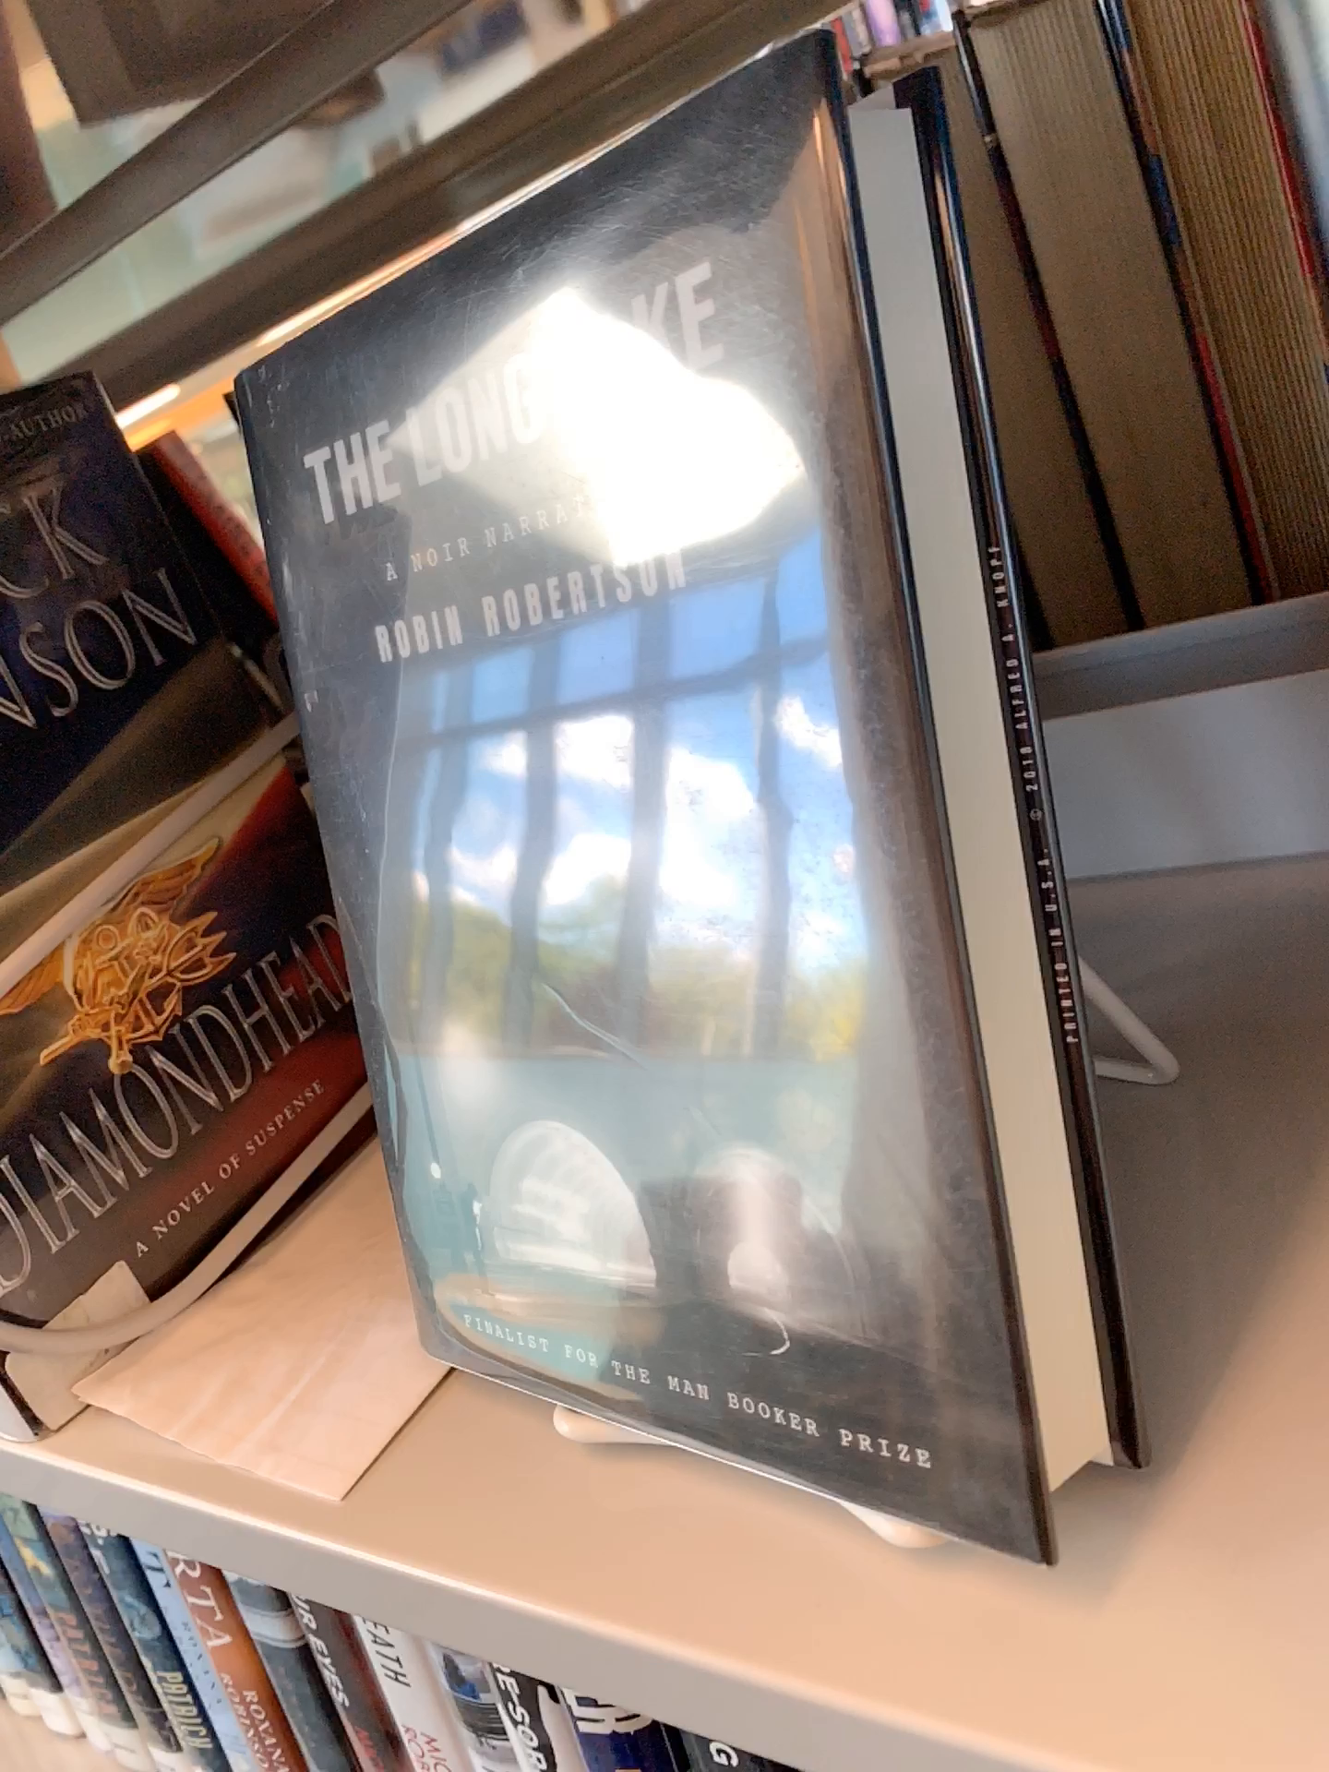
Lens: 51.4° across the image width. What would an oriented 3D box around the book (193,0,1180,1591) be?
[{"bbox_3d":[-0.008,-0.007,0.247,0.161,0.206,0.040,-4,8,45],"label":"book"}]
